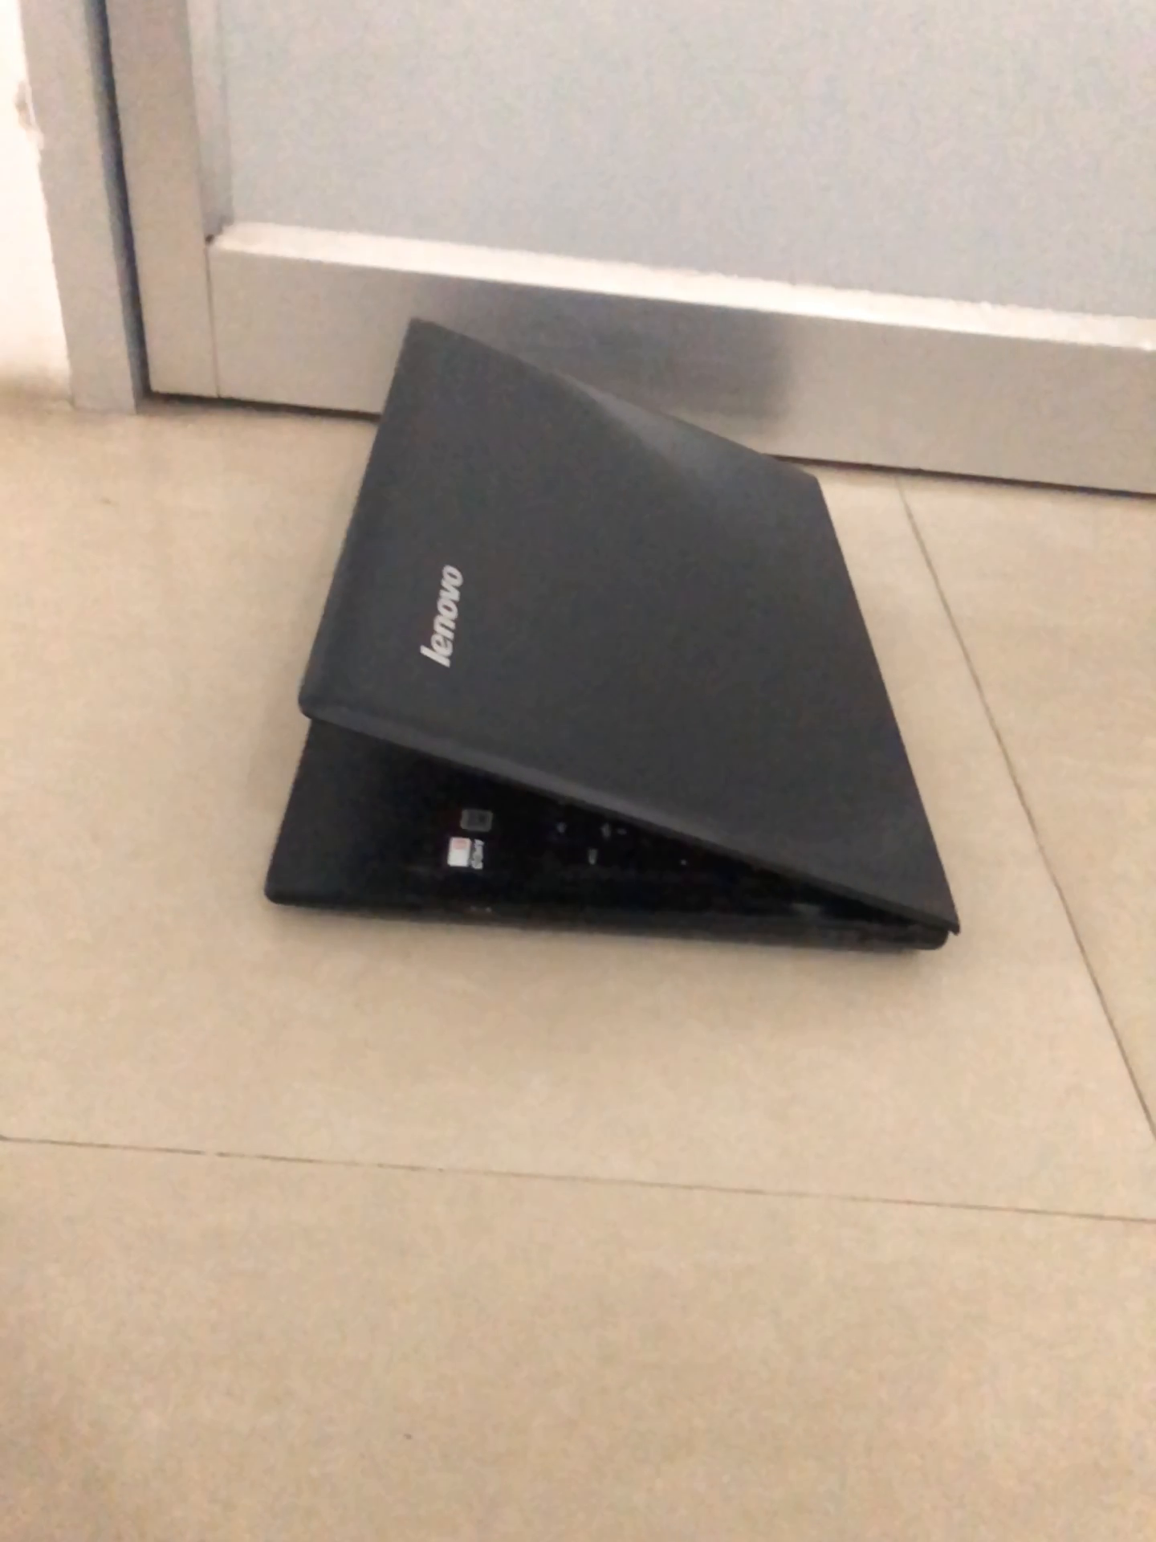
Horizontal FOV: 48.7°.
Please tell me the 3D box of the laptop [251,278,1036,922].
[{"bbox_3d":[0.020,-0.104,0.588,0.257,0.097,0.369,4,39,-5],"label":"laptop"}]
